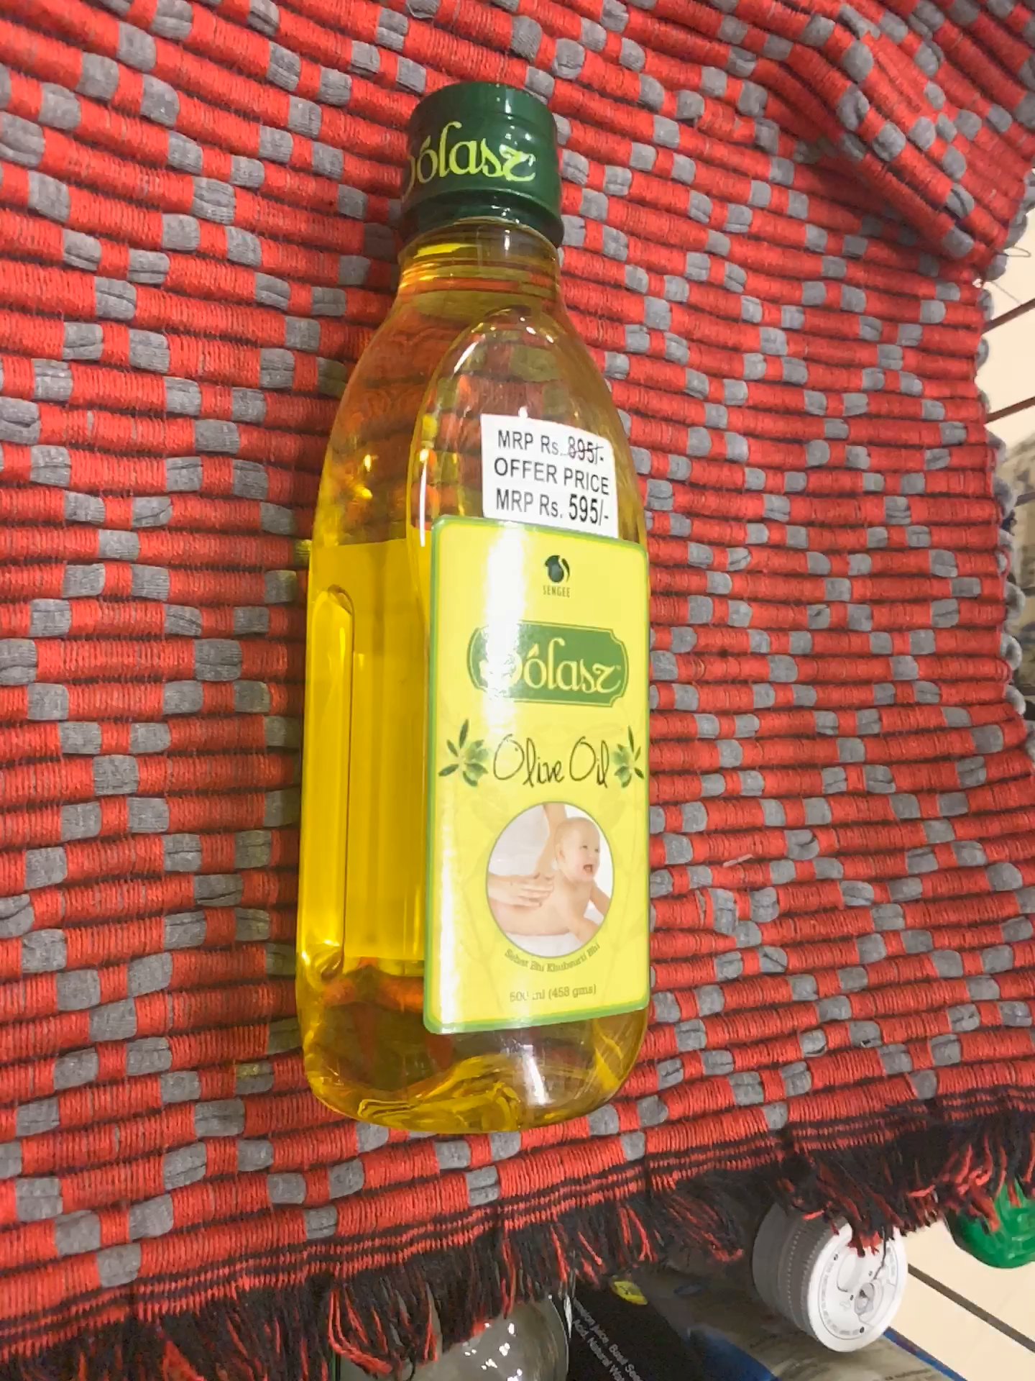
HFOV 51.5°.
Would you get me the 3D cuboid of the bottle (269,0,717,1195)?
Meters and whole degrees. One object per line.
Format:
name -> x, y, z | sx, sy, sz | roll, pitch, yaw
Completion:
bottle -> -0.007, -0.023, 0.228 | 0.070, 0.060, 0.220 | 4, 82, -28
